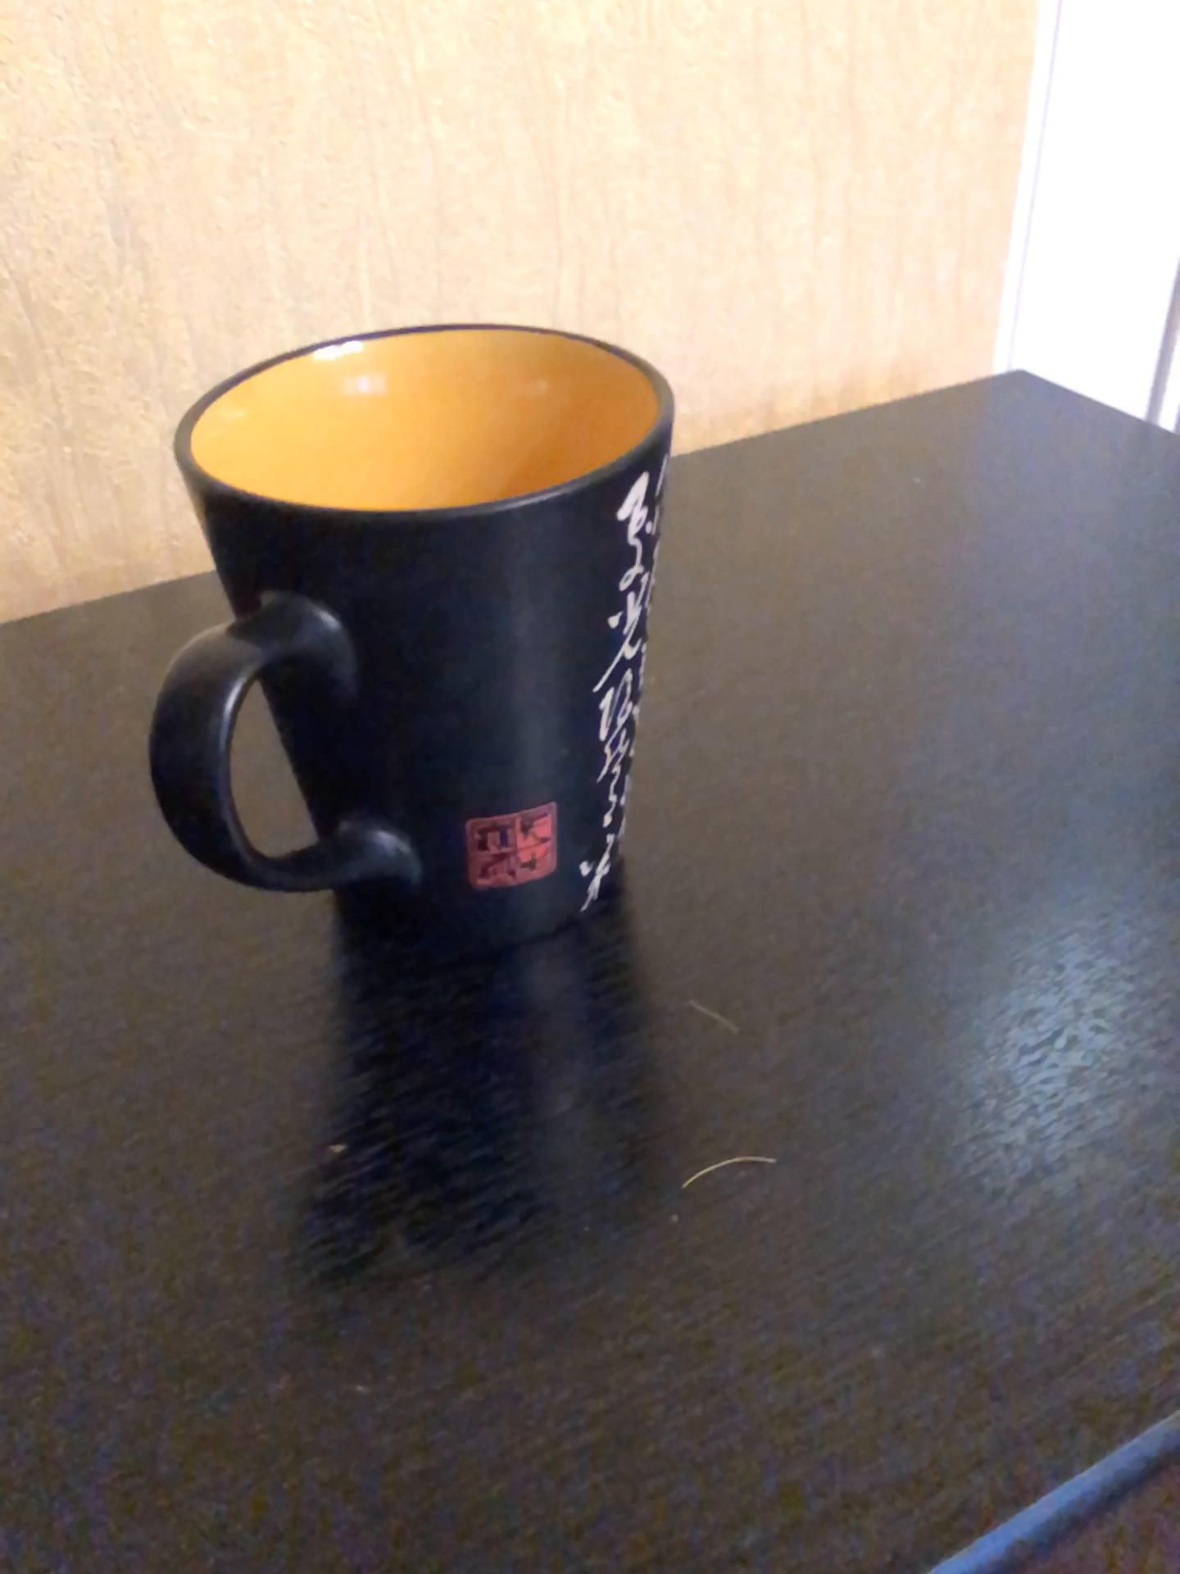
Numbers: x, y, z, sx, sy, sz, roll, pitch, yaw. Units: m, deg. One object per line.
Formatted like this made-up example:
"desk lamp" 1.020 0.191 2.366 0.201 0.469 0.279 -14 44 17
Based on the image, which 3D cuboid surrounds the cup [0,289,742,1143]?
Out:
"cup" -0.035 -0.025 0.261 0.090 0.099 0.131 13 40 20
